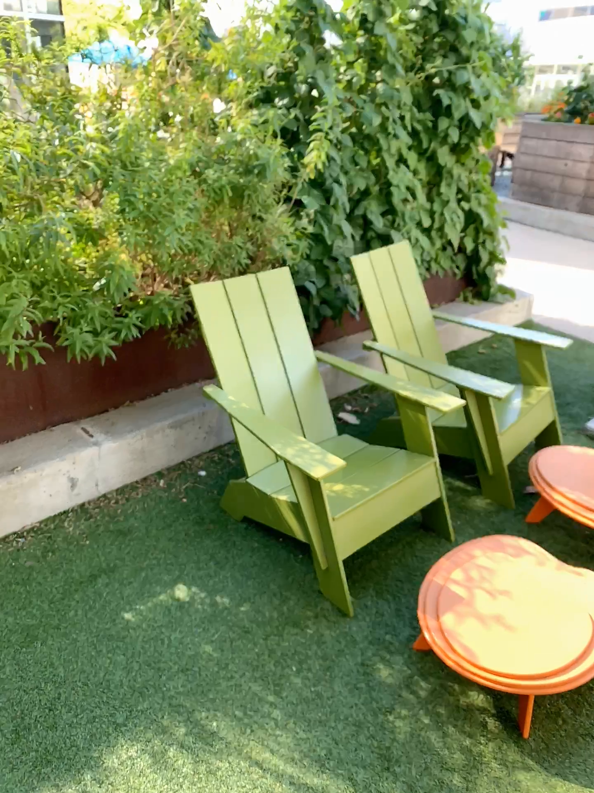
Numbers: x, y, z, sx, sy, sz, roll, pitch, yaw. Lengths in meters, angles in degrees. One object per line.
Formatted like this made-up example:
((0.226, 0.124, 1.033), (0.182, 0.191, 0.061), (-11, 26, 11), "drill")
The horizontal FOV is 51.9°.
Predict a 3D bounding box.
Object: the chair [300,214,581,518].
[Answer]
((0.648, -0.175, 2.692), (0.732, 1.016, 0.821), (-25, 20, -39), "chair")

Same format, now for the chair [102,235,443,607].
((-0.076, 0.004, 2.266), (0.771, 1.006, 0.821), (-21, 19, -37), "chair")
